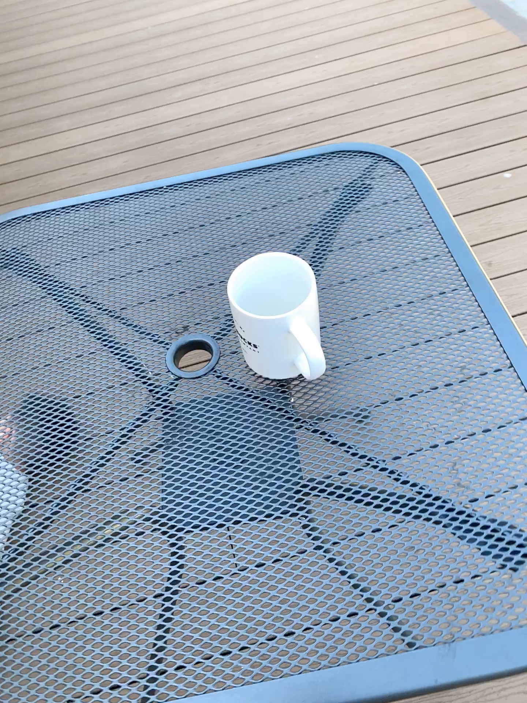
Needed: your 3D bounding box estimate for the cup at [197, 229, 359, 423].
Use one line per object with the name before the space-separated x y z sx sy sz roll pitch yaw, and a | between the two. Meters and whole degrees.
cup | 0.016 -0.026 0.548 0.100 0.110 0.131 -28 55 -12
